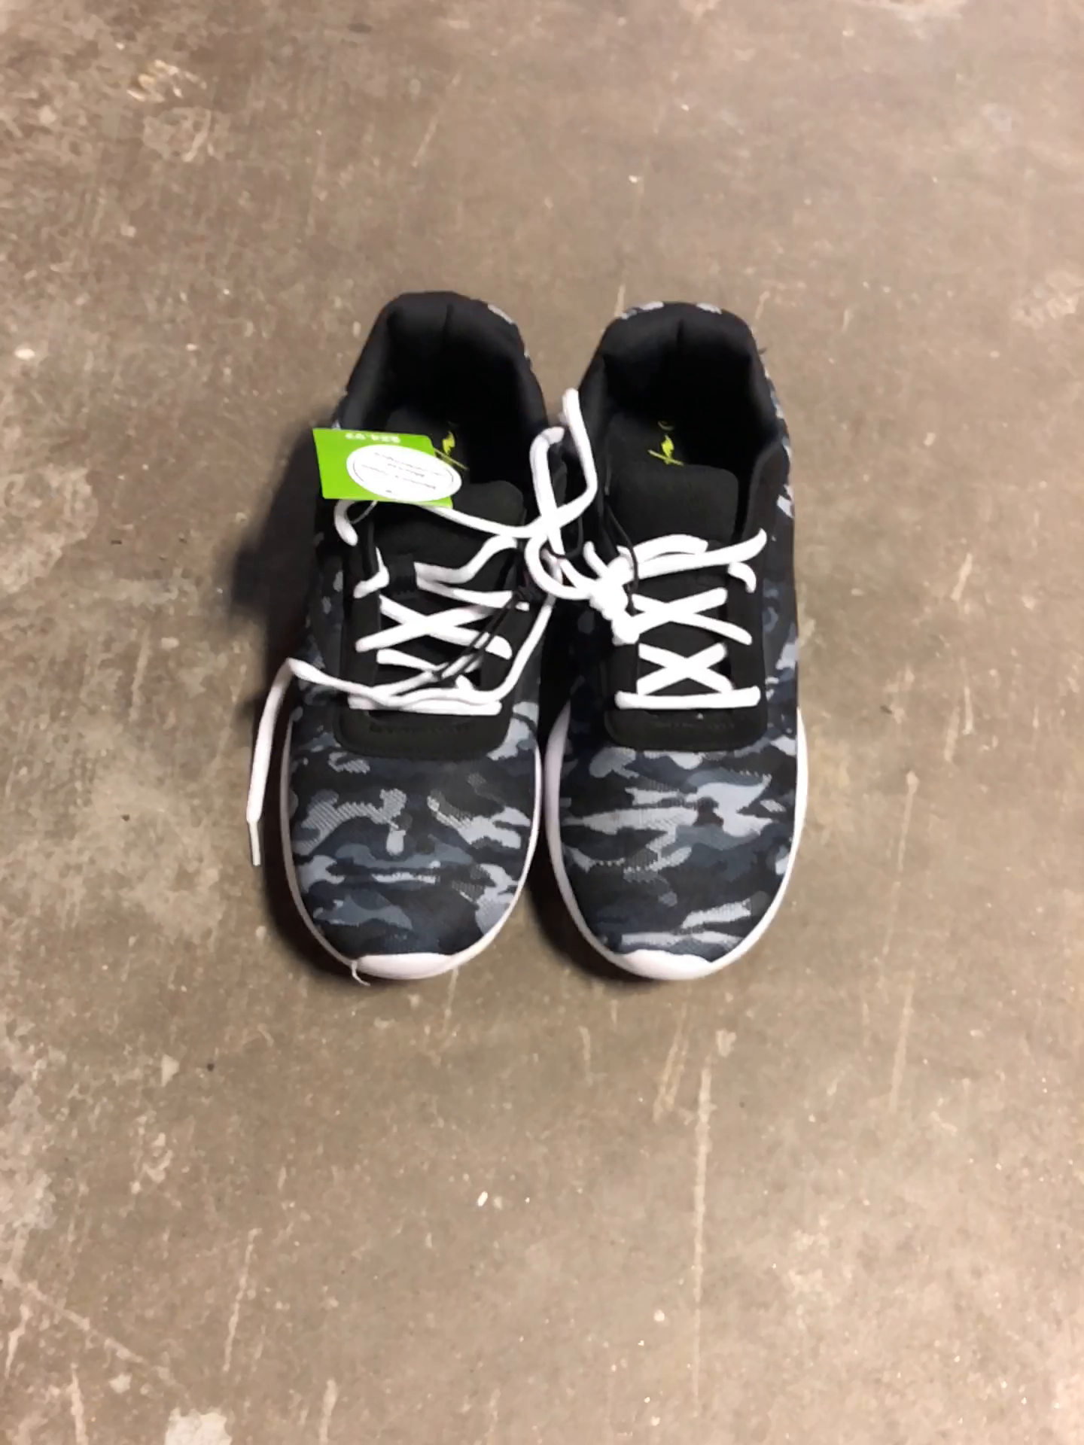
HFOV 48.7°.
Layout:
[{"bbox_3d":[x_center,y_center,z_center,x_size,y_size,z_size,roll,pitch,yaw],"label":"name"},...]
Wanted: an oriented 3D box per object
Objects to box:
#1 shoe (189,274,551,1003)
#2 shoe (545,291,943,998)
[{"bbox_3d":[-0.056,-0.034,0.490,0.110,0.139,0.261,2,61,-3],"label":"shoe"},{"bbox_3d":[0.066,-0.033,0.506,0.120,0.139,0.261,2,61,-3],"label":"shoe"}]
